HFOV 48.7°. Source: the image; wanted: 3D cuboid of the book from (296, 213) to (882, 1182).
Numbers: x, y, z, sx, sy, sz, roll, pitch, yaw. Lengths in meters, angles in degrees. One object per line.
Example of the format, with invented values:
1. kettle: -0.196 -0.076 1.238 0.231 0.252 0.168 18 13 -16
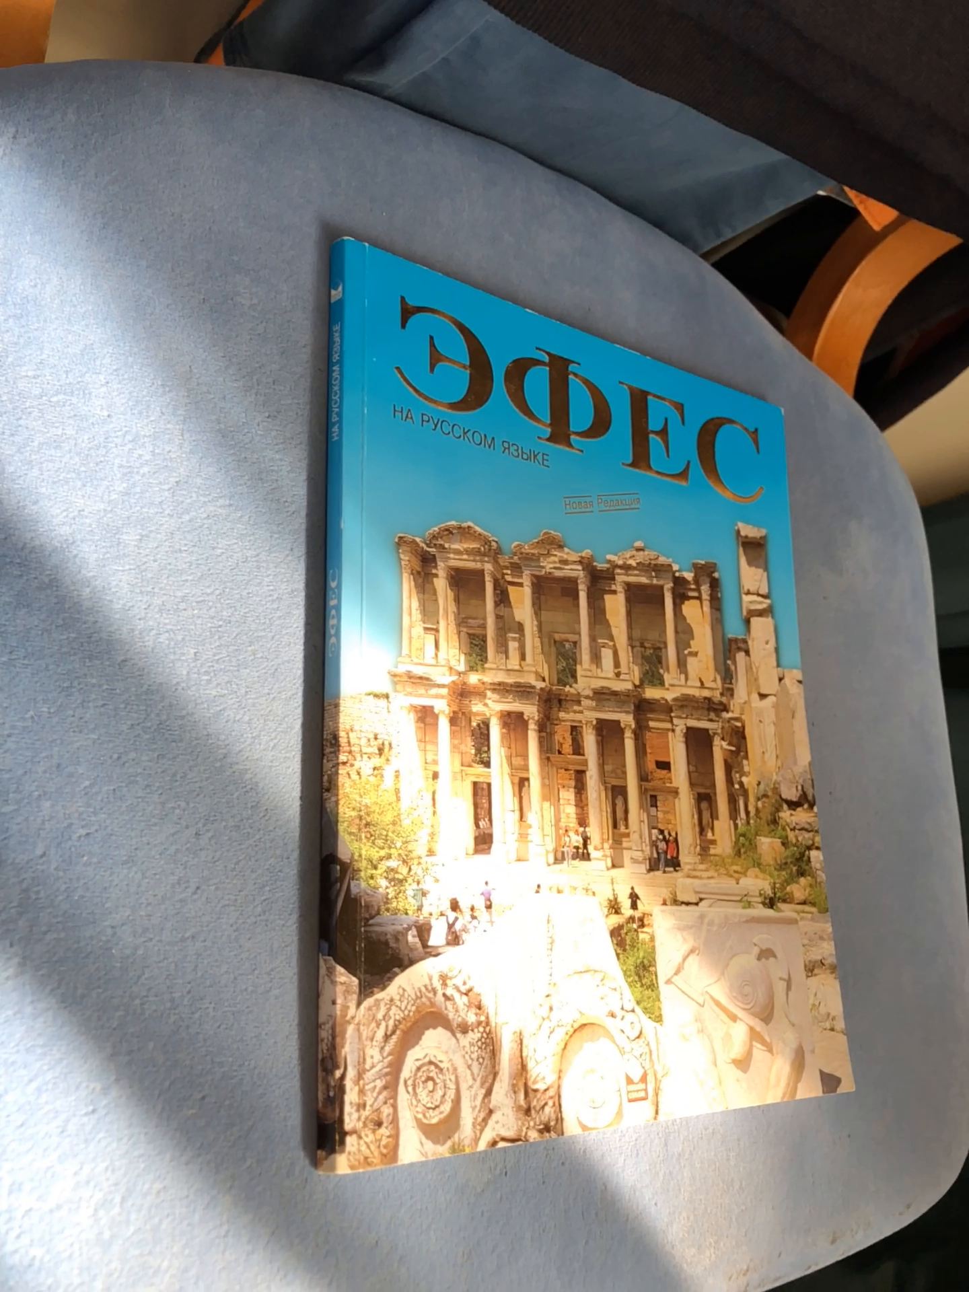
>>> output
1. book: 0.042 0.015 0.325 0.197 0.020 0.240 10 72 -35
